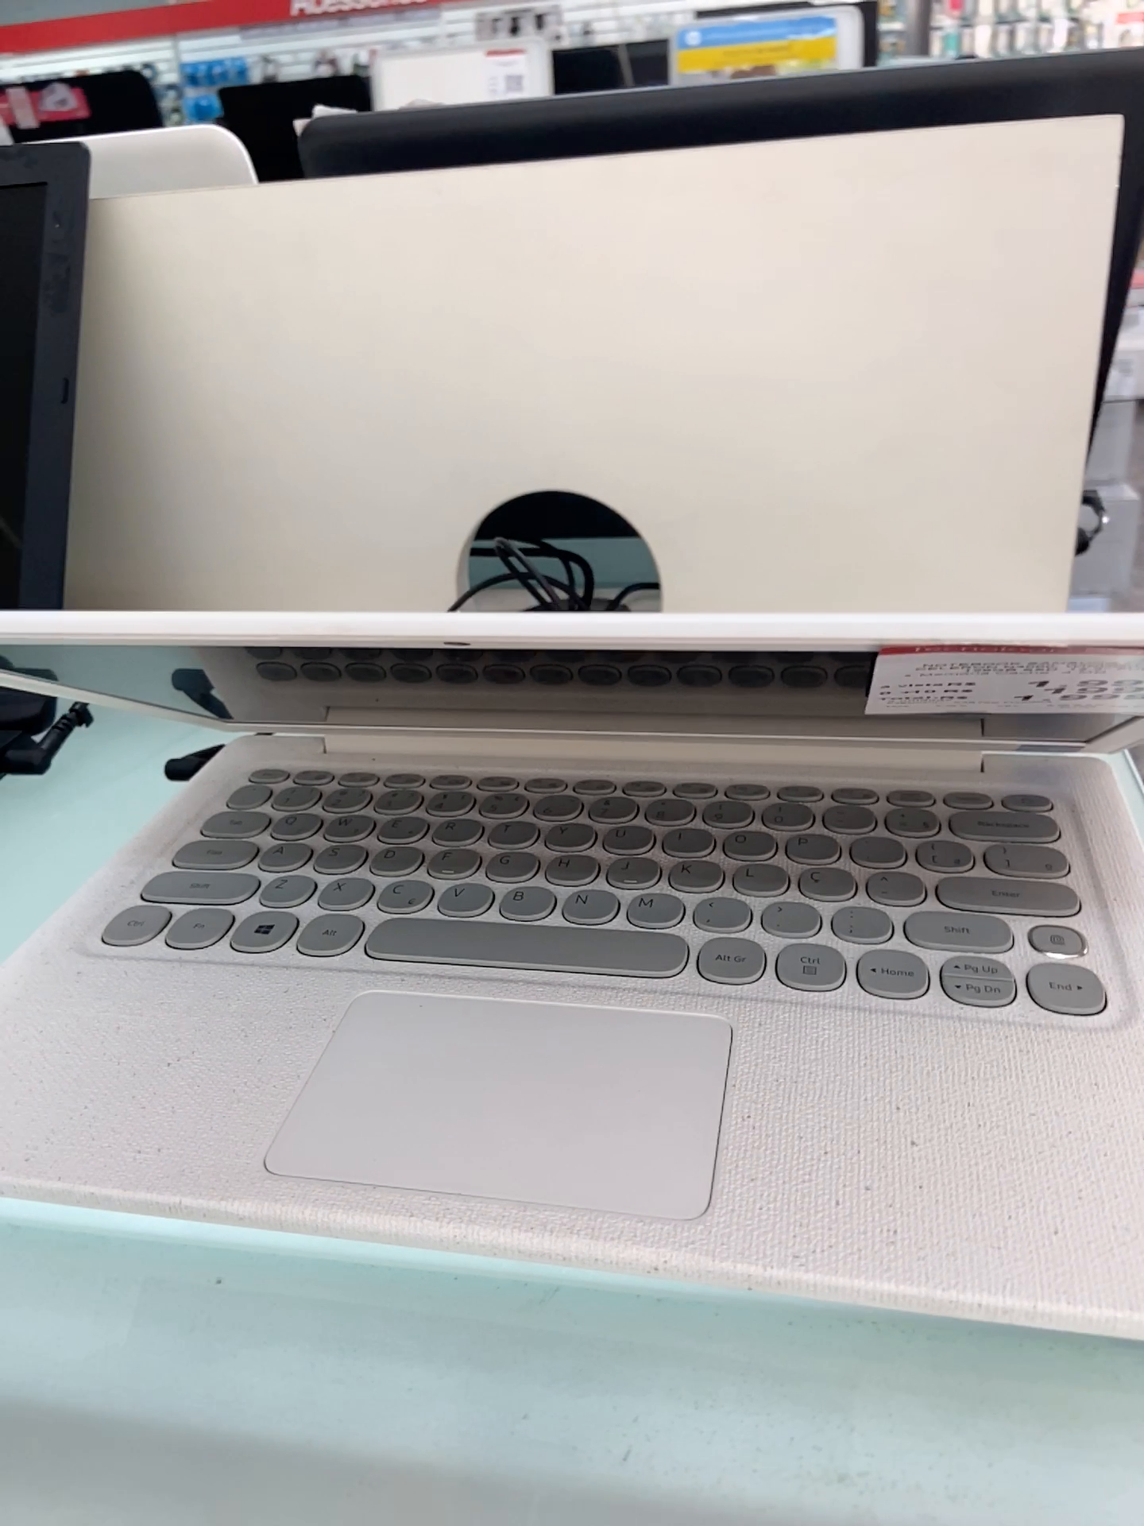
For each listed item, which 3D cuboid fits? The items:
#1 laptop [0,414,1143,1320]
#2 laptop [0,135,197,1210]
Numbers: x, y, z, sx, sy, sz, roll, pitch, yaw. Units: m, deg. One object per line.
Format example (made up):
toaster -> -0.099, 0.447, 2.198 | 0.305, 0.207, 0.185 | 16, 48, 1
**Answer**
laptop -> -0.006, -0.003, 0.305 | 0.312, 0.108, 0.207 | 1, 28, 14
laptop -> -0.433, -0.086, 0.430 | 0.400, 0.213, 0.375 | 2, 28, 14
